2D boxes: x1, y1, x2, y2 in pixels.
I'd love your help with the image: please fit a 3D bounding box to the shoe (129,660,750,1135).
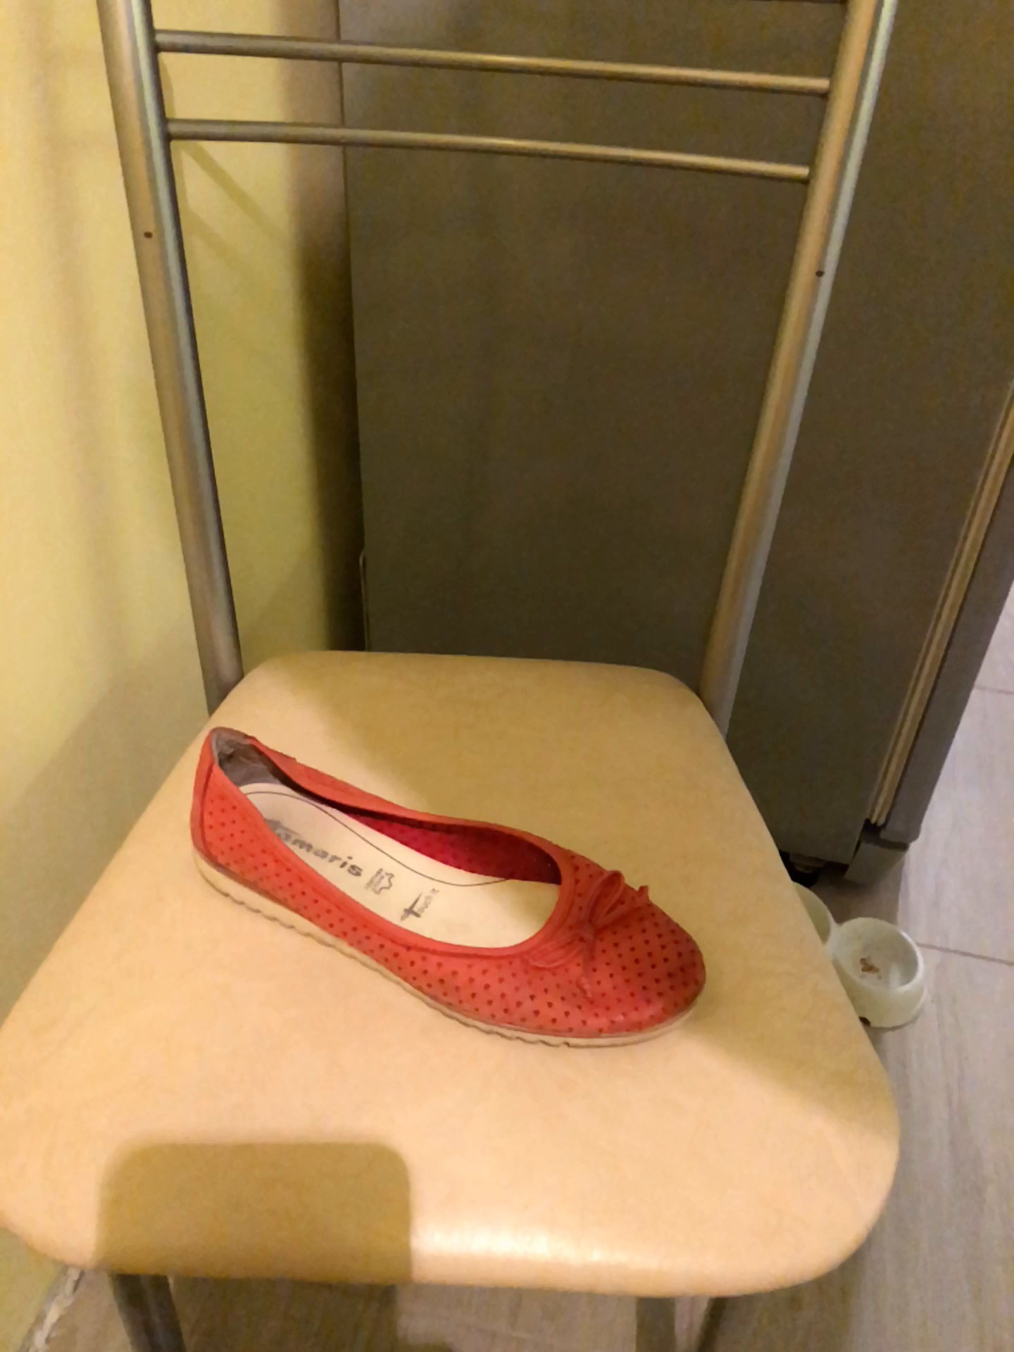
[{"bbox_3d":[-0.032,0.090,0.503,0.250,0.080,0.101,19,41,18],"label":"shoe"}]
